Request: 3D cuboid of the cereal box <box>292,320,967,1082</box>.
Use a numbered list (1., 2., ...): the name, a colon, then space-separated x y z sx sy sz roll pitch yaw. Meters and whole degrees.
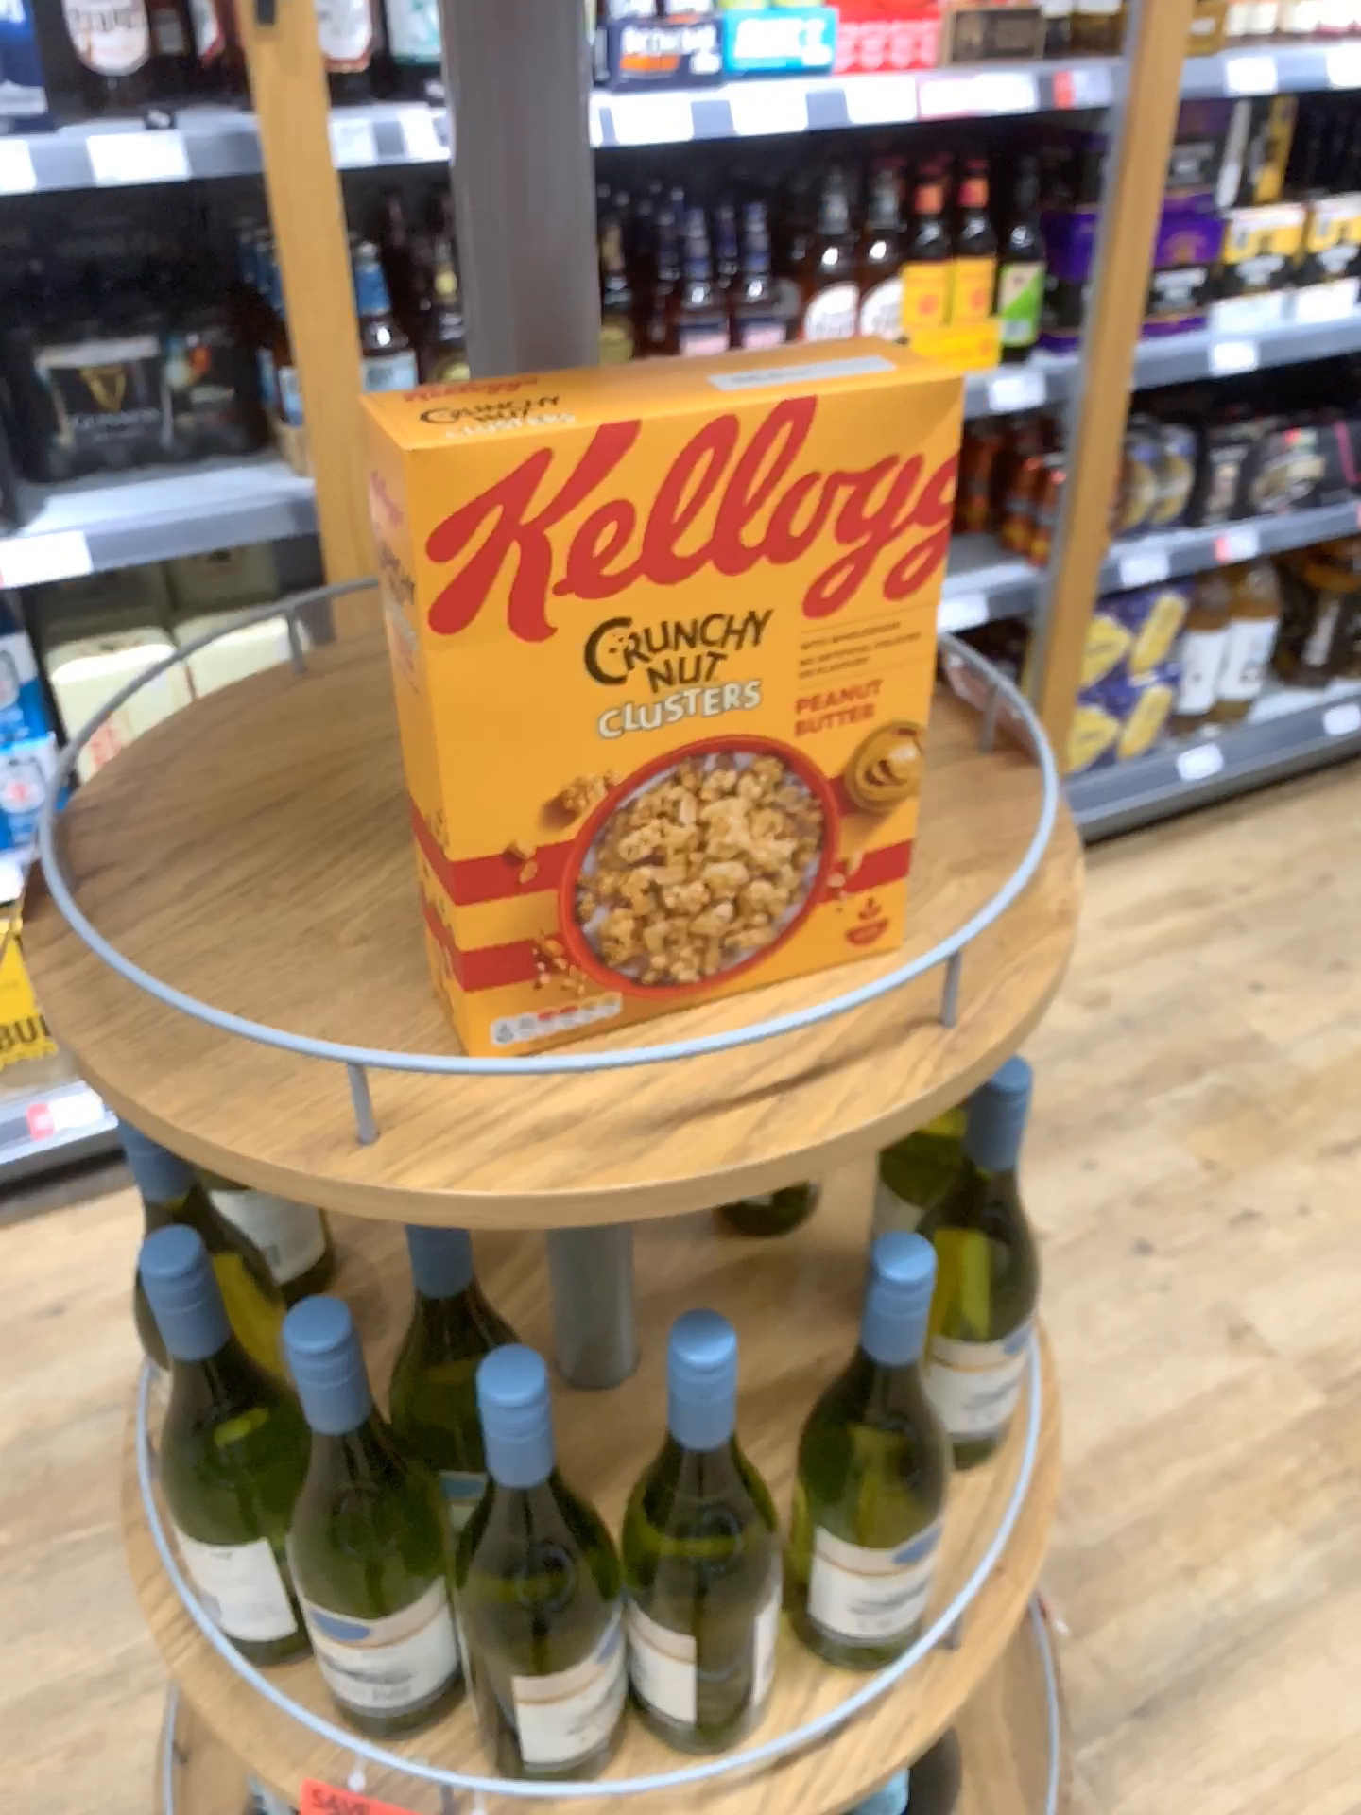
1. cereal box: -0.013 -0.074 0.523 0.210 0.238 0.061 -15 38 -20
